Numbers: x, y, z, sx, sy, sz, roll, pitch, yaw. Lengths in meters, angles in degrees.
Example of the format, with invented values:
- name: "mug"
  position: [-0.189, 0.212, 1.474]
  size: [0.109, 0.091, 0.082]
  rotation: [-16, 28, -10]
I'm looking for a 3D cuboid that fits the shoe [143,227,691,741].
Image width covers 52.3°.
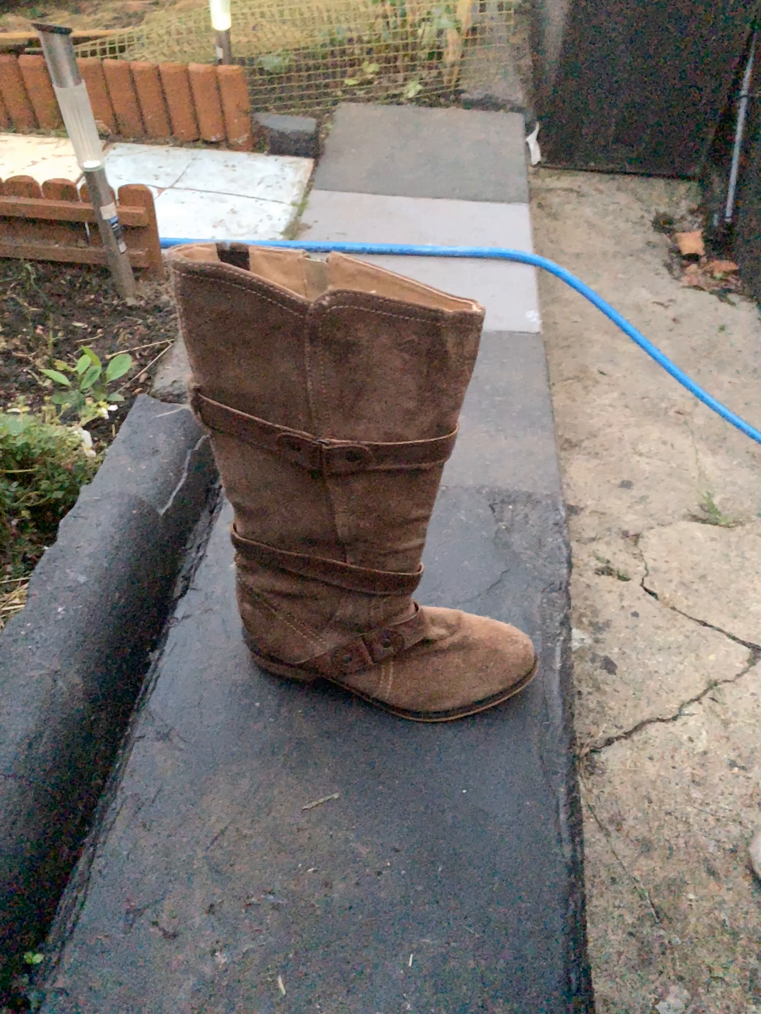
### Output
- name: "shoe"
  position: [0.015, 0.015, 0.551]
  size: [0.270, 0.376, 0.101]
  rotation: [6, 46, 3]
